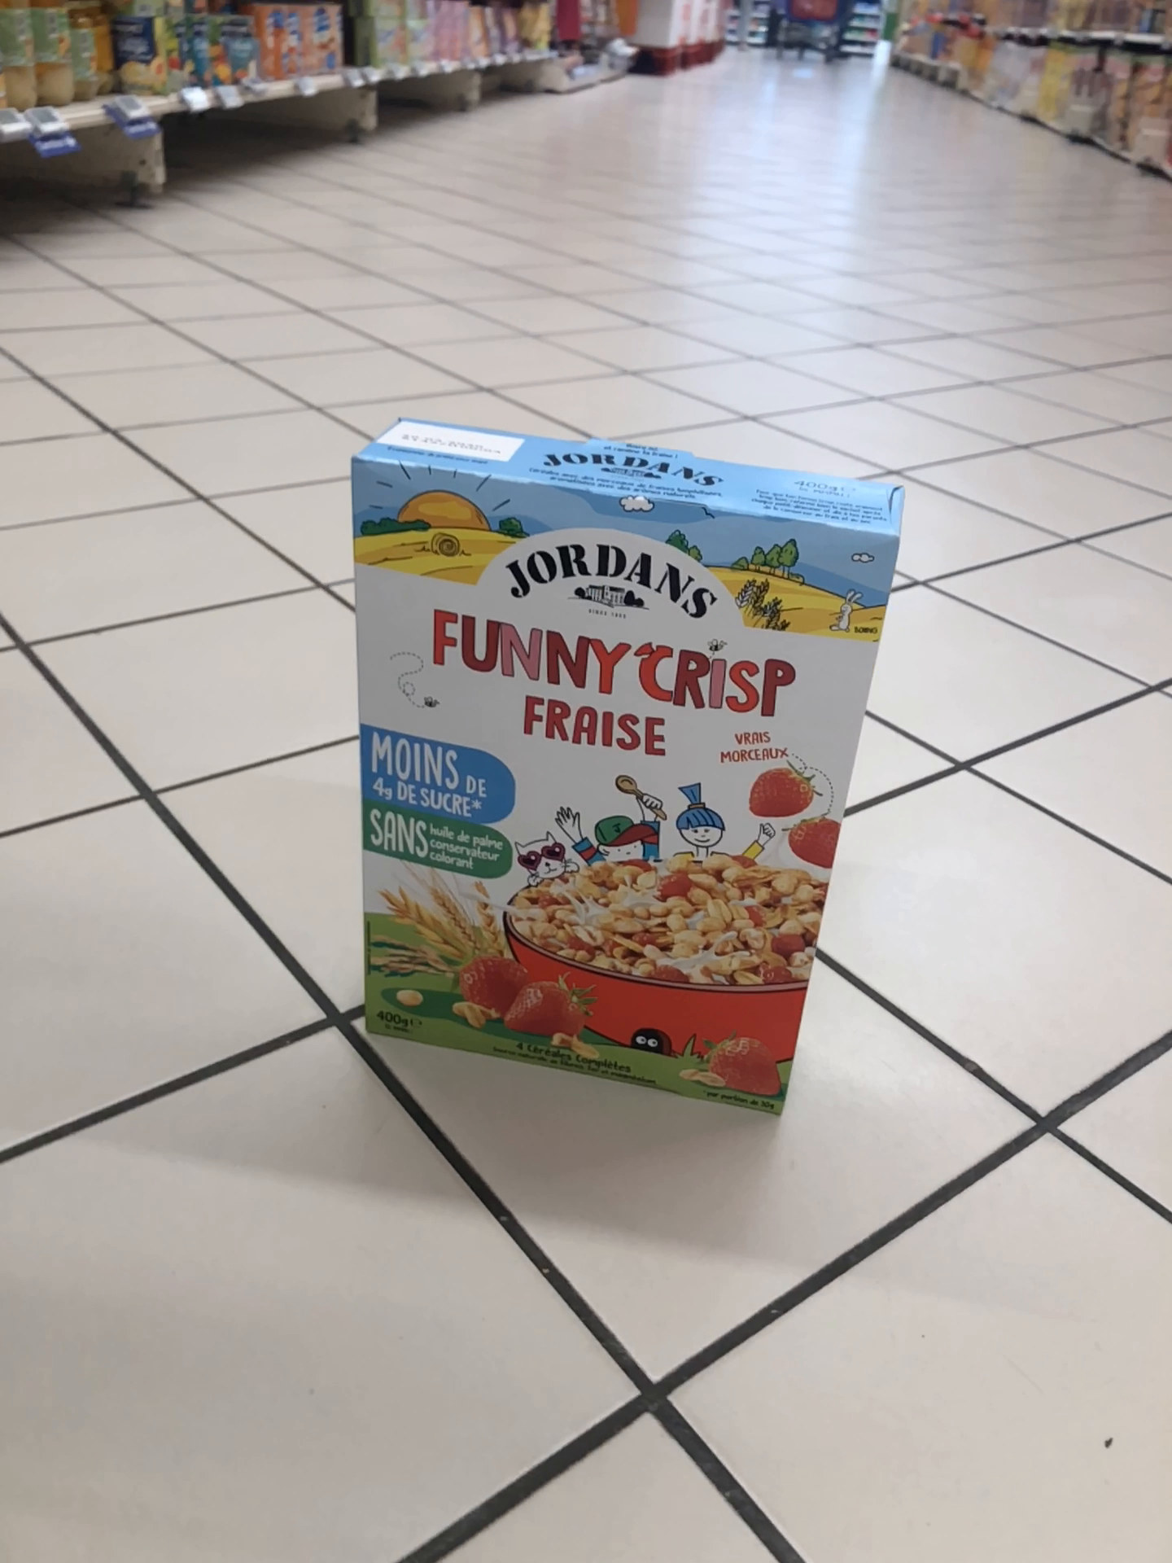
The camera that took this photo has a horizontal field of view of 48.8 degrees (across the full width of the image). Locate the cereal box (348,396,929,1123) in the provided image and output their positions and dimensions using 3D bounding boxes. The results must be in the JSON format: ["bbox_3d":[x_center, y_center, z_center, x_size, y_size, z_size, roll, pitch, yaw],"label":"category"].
[{"bbox_3d":[0.009,-0.001,0.448,0.170,0.229,0.050,10,30,9],"label":"cereal box"}]
